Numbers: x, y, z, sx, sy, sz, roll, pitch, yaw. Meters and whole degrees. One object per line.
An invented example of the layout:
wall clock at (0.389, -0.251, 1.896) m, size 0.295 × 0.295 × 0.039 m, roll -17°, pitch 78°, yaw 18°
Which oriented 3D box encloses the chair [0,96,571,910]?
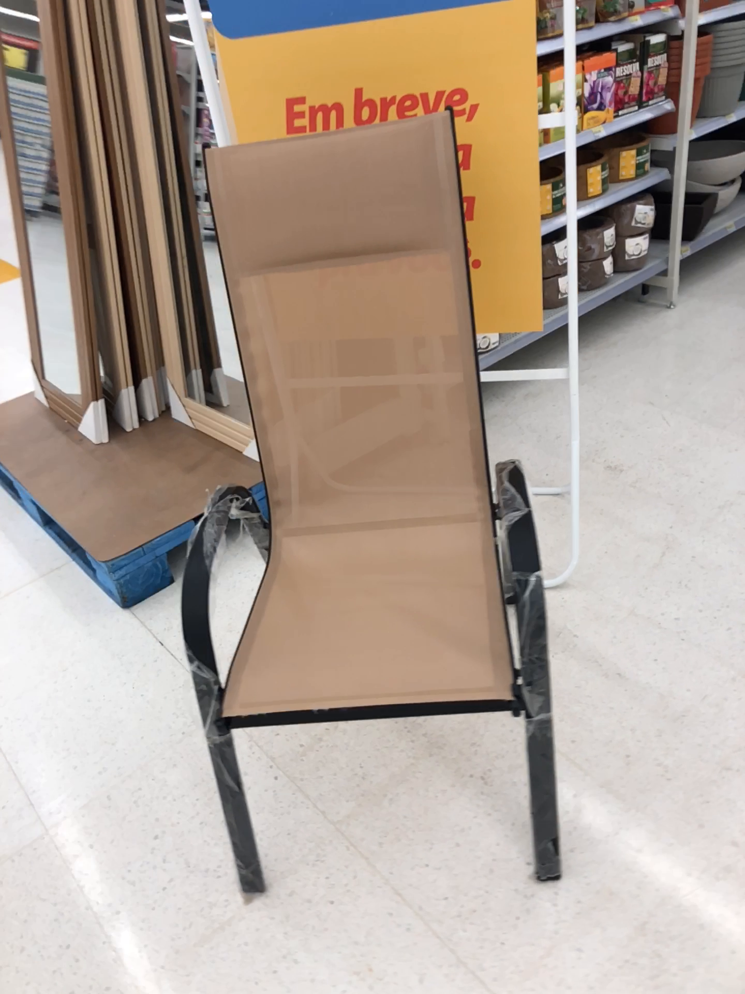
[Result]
chair at (-0.068, 0.018, 1.260) m, size 0.620 × 0.973 × 0.705 m, roll -5°, pitch 34°, yaw 7°
